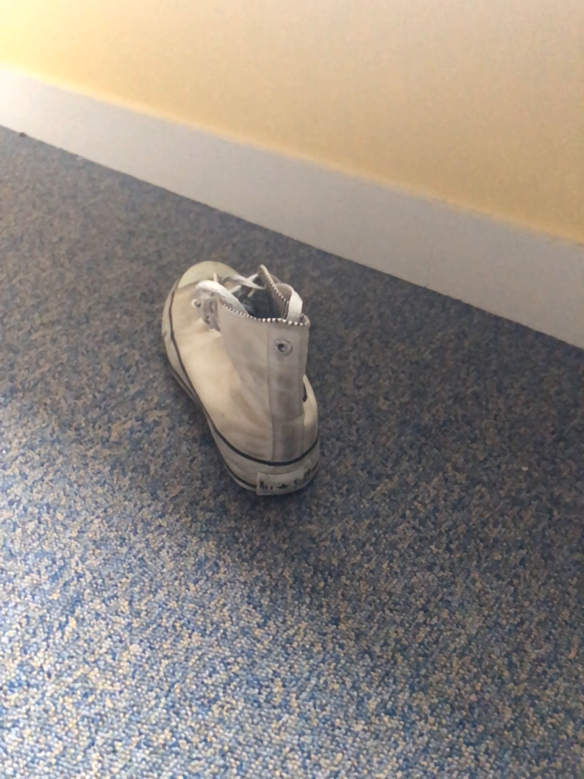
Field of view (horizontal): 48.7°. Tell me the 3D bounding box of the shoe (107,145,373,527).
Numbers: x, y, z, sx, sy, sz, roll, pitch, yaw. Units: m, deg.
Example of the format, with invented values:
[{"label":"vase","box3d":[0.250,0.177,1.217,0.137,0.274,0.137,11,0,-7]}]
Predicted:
[{"label":"shoe","box3d":[-0.050,-0.056,0.456,0.100,0.139,0.251,-13,41,-16]}]
